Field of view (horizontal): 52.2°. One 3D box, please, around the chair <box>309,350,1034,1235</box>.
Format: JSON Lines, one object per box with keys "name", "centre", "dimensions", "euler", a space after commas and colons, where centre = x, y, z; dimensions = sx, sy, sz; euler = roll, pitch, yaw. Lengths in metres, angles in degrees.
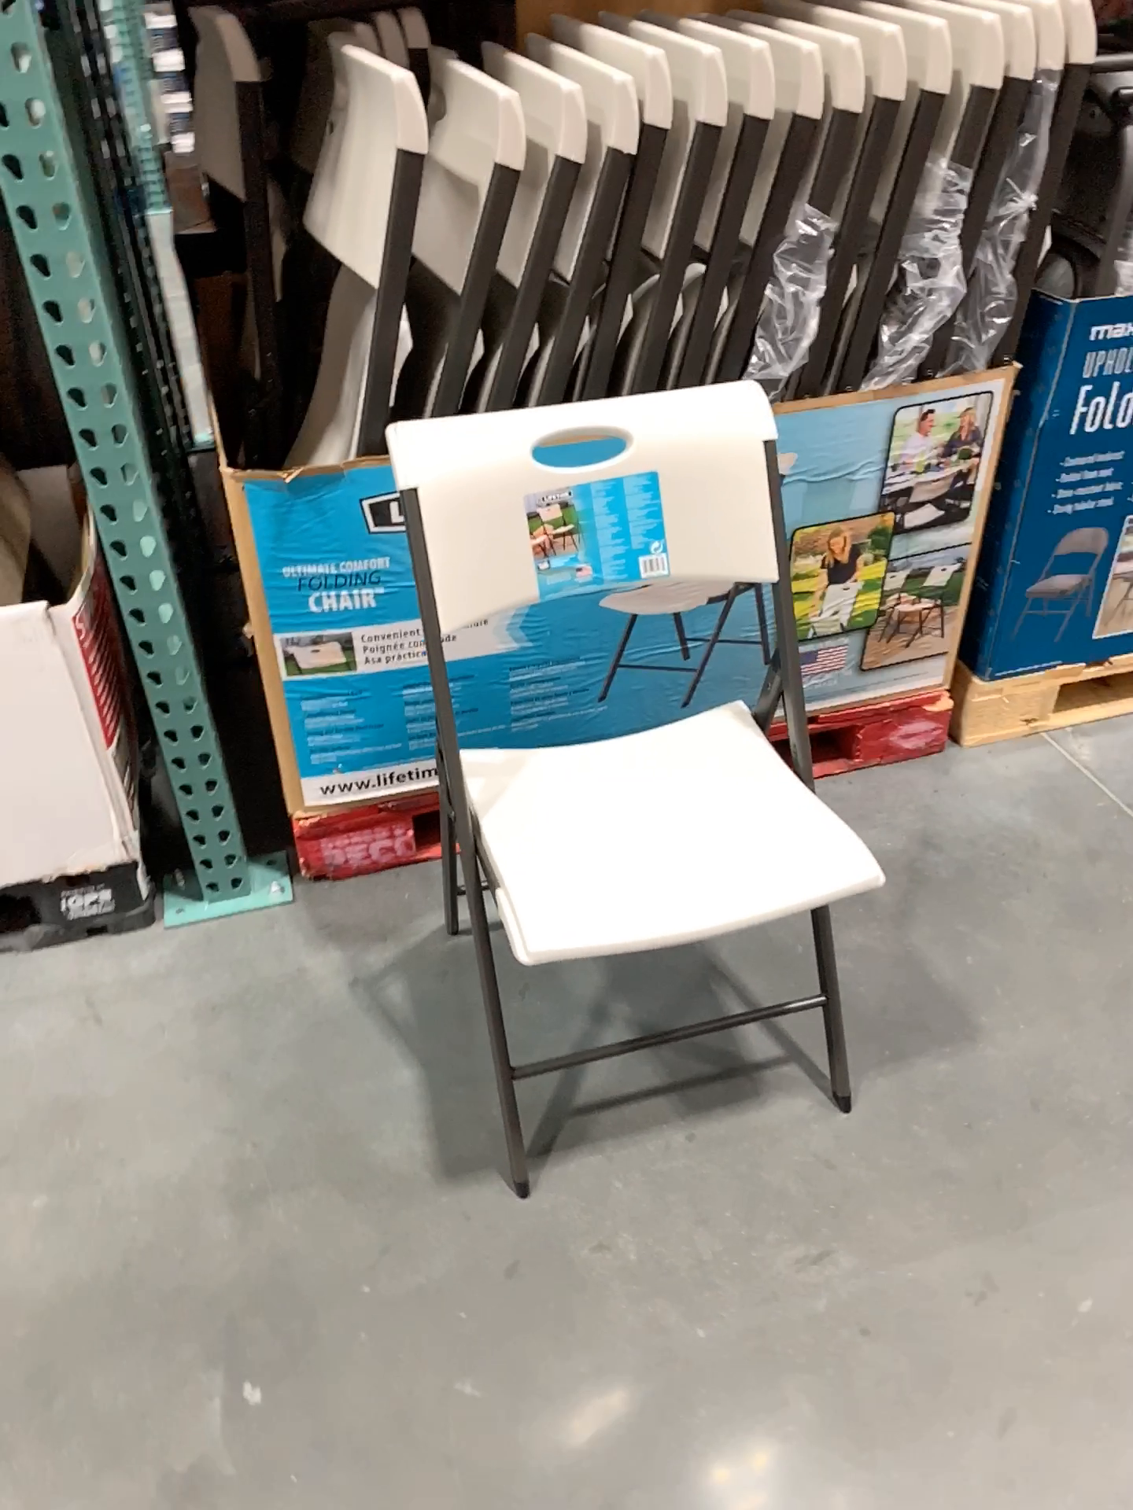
{"name": "chair", "centre": [0.063, 0.028, 1.415], "dimensions": [0.565, 0.806, 0.577], "euler": [-11, 38, -13]}
